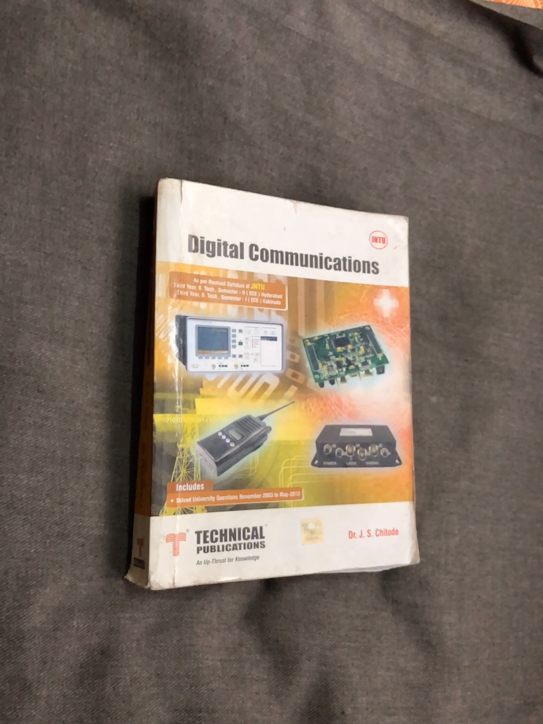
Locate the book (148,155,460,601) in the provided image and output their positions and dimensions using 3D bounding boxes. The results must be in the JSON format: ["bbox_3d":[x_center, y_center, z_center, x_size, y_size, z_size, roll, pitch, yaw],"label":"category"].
[{"bbox_3d":[0.023,0.011,0.380,0.182,0.050,0.241,4,82,-20],"label":"book"}]
